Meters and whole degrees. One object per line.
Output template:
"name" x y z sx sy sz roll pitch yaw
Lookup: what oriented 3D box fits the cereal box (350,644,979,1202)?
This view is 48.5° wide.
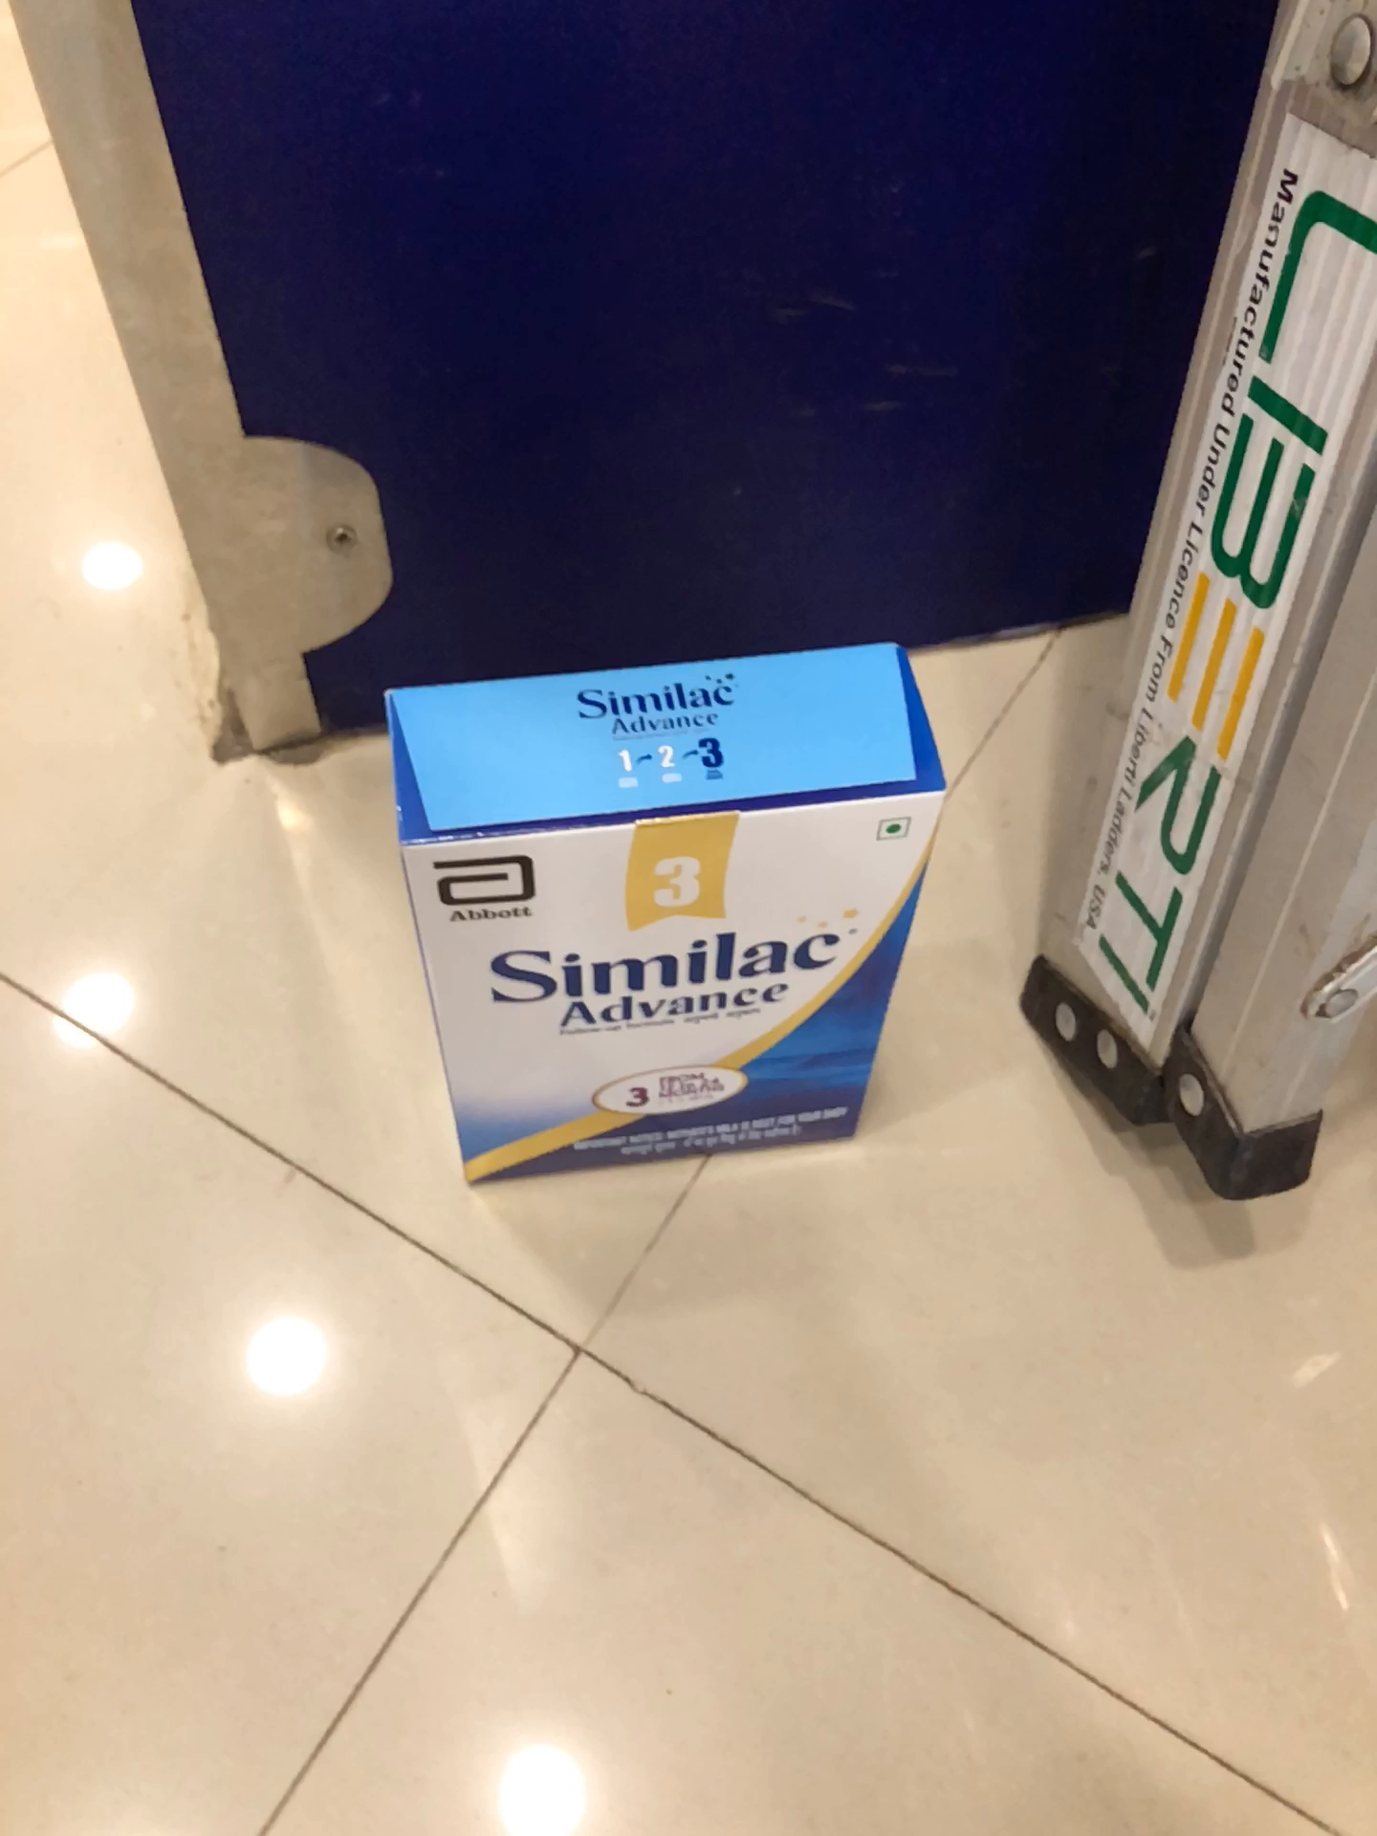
"cereal box" -0.010 0.013 0.439 0.140 0.199 0.050 -6 59 -6
